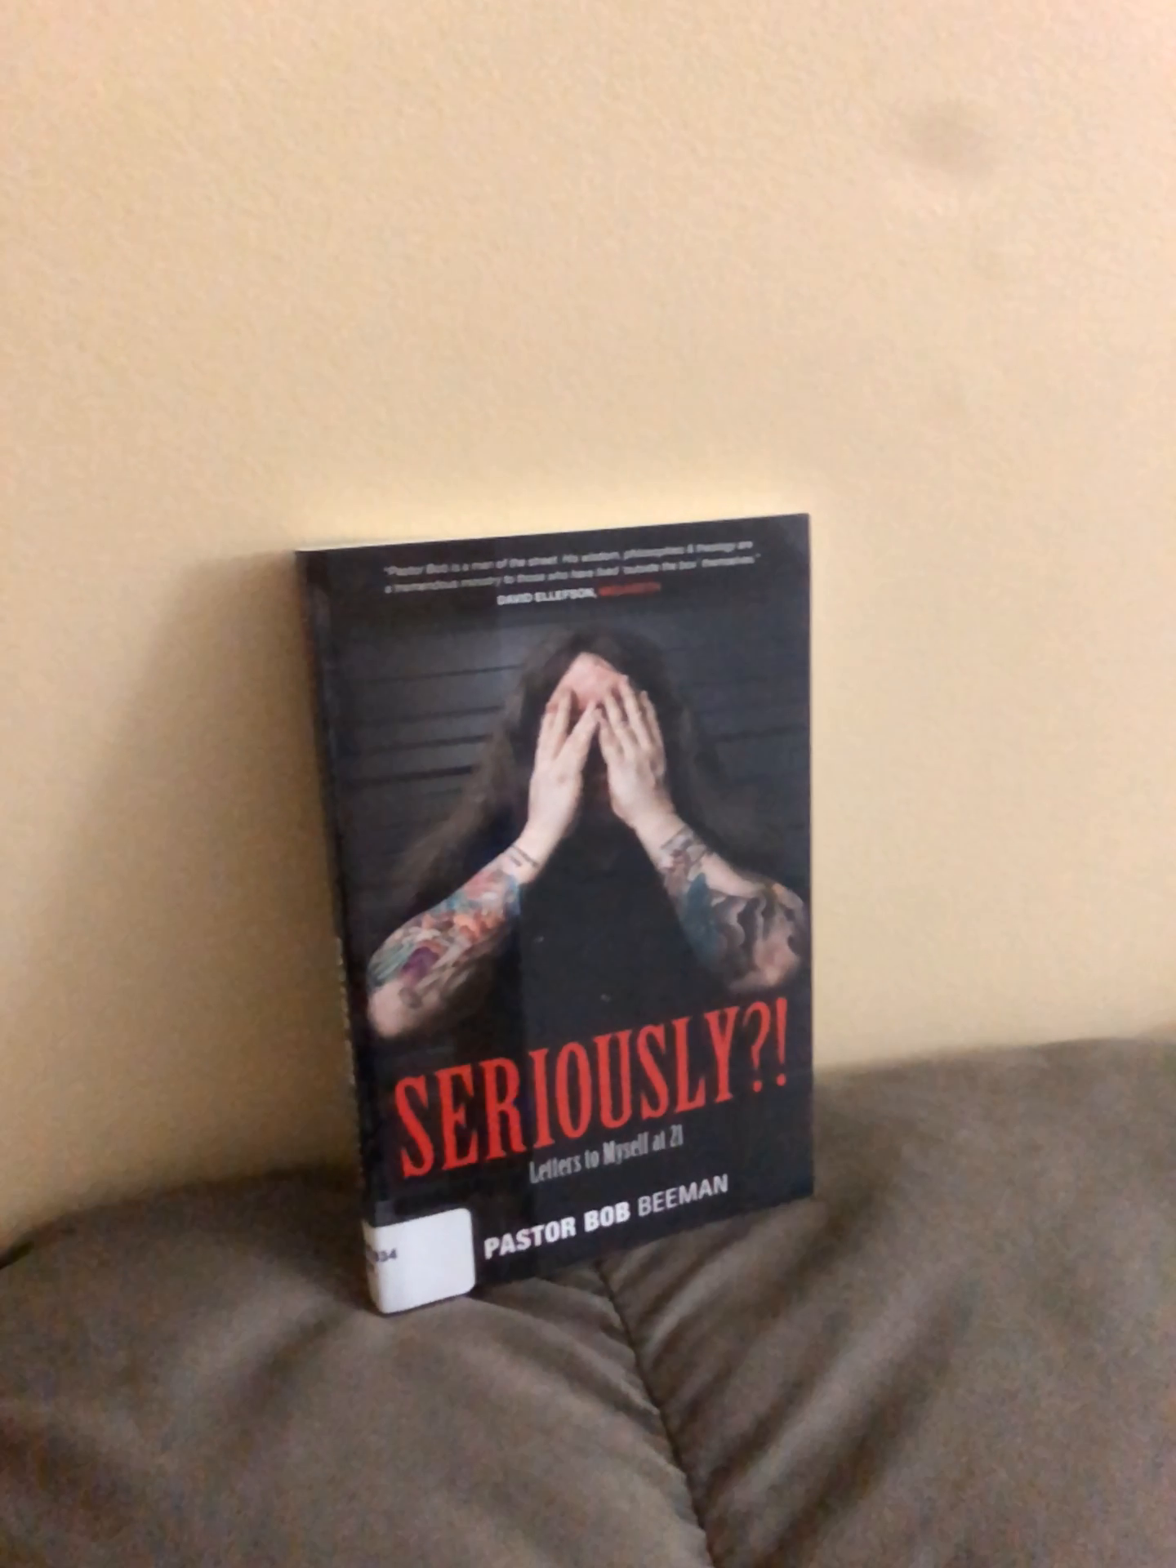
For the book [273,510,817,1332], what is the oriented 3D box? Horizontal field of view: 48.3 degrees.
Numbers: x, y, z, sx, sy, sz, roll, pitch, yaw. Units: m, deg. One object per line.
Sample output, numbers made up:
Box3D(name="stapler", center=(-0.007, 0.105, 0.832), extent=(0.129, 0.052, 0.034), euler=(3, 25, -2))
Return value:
Box3D(name="book", center=(-0.004, 0.034, 0.359), extent=(0.137, 0.205, 0.023), euler=(-9, 15, -21))
